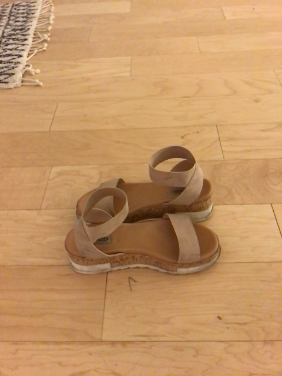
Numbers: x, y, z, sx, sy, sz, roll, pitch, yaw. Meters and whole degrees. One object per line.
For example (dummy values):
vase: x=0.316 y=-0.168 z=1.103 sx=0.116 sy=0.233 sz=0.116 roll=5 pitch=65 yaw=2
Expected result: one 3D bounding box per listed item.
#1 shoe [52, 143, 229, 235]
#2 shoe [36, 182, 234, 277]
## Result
shoe: x=0.001 y=0.005 z=0.566 sx=0.280 sy=0.119 sz=0.111 roll=-2 pitch=50 yaw=3
shoe: x=-0.007 y=0.071 z=0.509 sx=0.280 sy=0.109 sz=0.111 roll=-1 pitch=50 yaw=3
